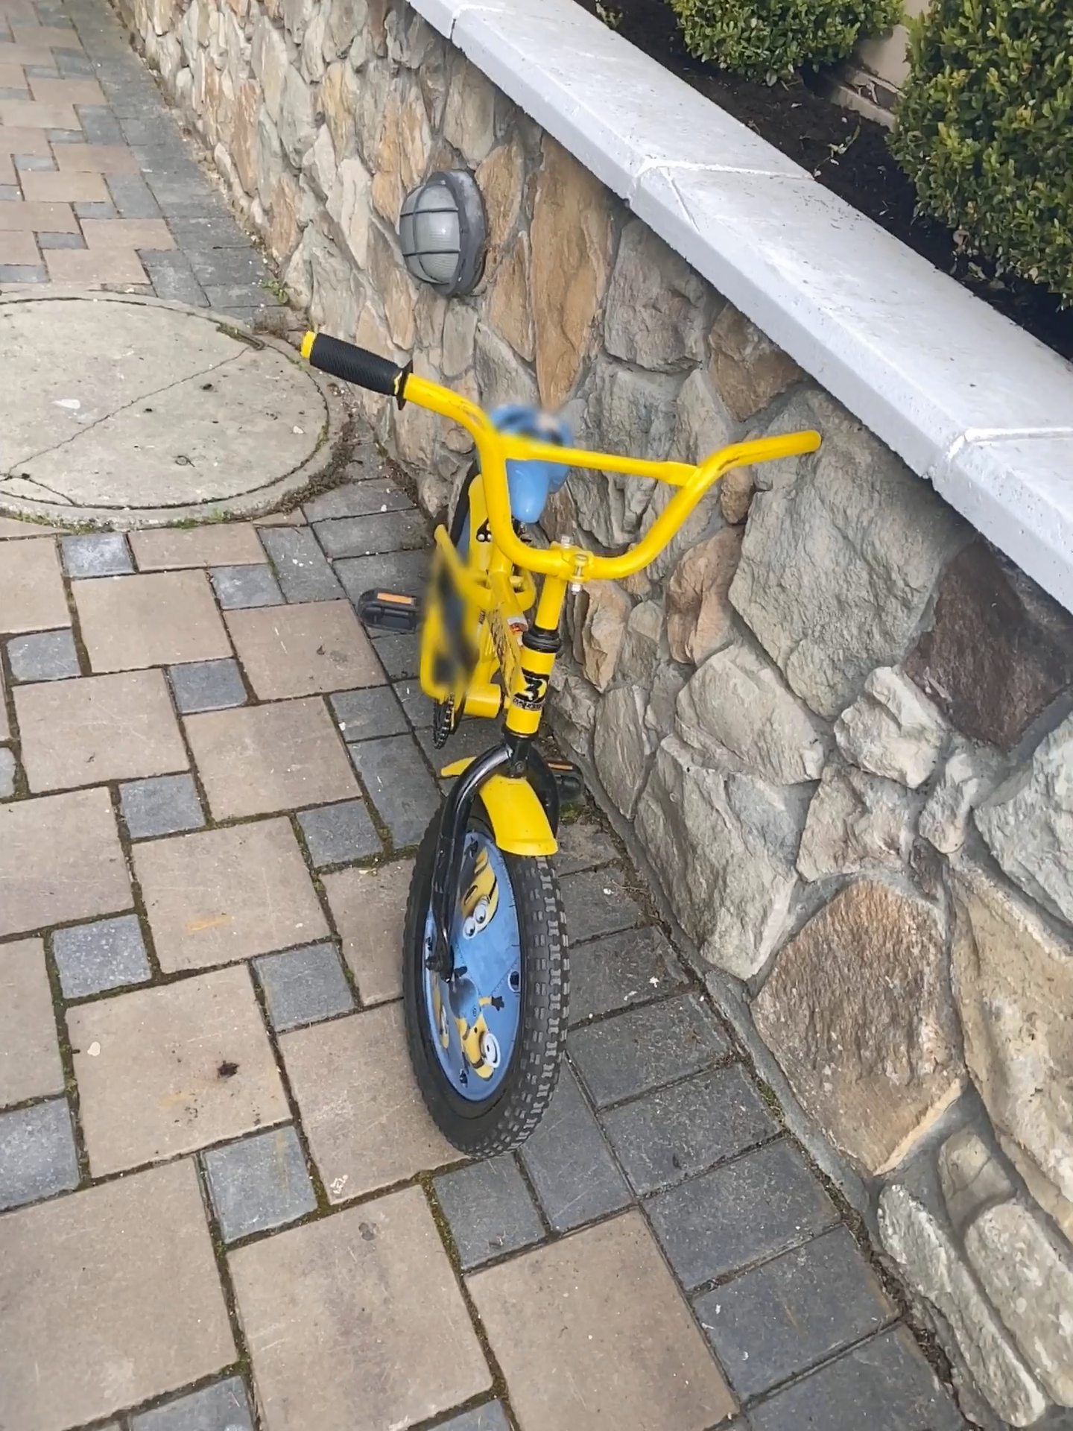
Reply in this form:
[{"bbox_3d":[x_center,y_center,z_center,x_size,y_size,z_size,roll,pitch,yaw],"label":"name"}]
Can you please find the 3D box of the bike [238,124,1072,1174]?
[{"bbox_3d":[0.002,-0.133,1.342,0.619,0.735,1.092,5,41,-13],"label":"bike"}]
